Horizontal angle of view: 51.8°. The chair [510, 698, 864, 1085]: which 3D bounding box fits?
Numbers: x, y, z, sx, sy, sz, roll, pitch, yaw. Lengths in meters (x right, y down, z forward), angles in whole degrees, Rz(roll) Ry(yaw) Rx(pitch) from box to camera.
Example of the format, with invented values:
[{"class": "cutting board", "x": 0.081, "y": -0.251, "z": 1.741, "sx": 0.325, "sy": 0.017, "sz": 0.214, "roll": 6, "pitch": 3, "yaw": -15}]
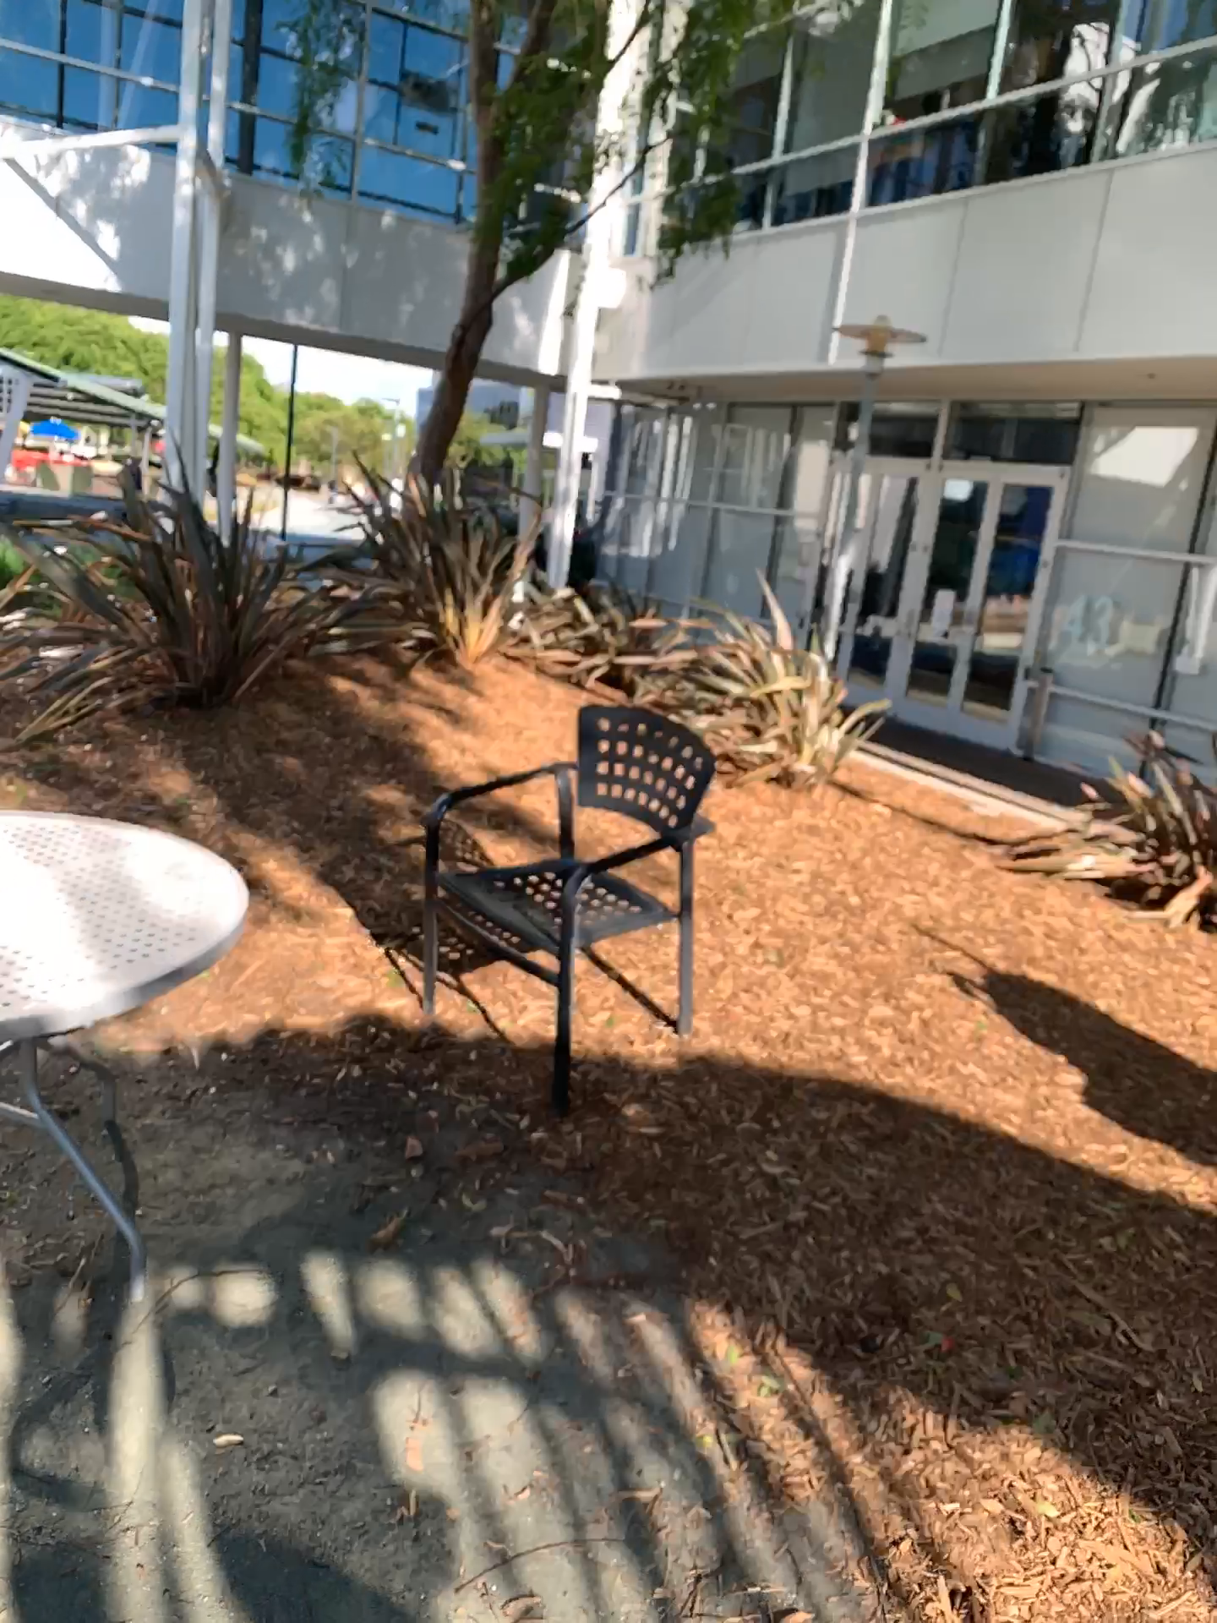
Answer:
[{"class": "chair", "x": 0.167, "y": 0.145, "z": 2.896, "sx": 0.500, "sy": 0.718, "sz": 0.521, "roll": -4, "pitch": 17, "yaw": -40}]
